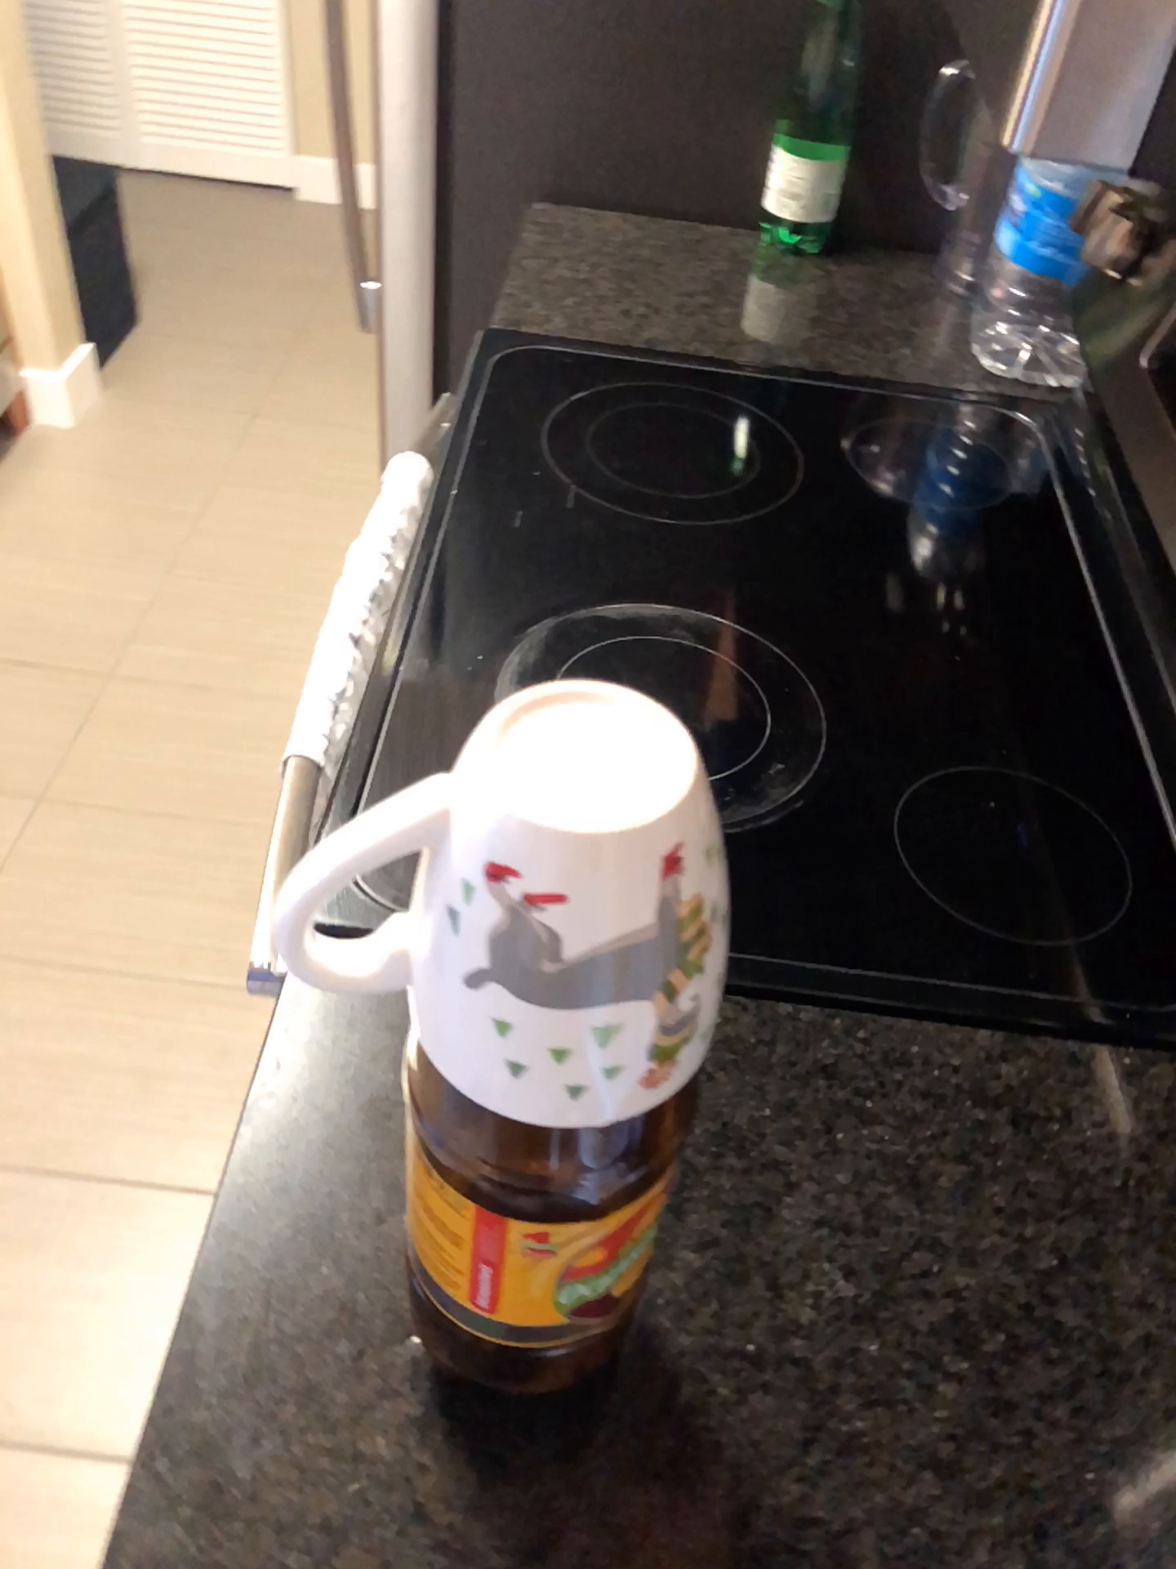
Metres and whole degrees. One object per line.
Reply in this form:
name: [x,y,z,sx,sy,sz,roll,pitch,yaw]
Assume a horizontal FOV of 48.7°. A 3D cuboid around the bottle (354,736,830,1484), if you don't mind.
bottle: [-0.010,0.133,0.477,0.100,0.279,0.100,4,44,-4]
